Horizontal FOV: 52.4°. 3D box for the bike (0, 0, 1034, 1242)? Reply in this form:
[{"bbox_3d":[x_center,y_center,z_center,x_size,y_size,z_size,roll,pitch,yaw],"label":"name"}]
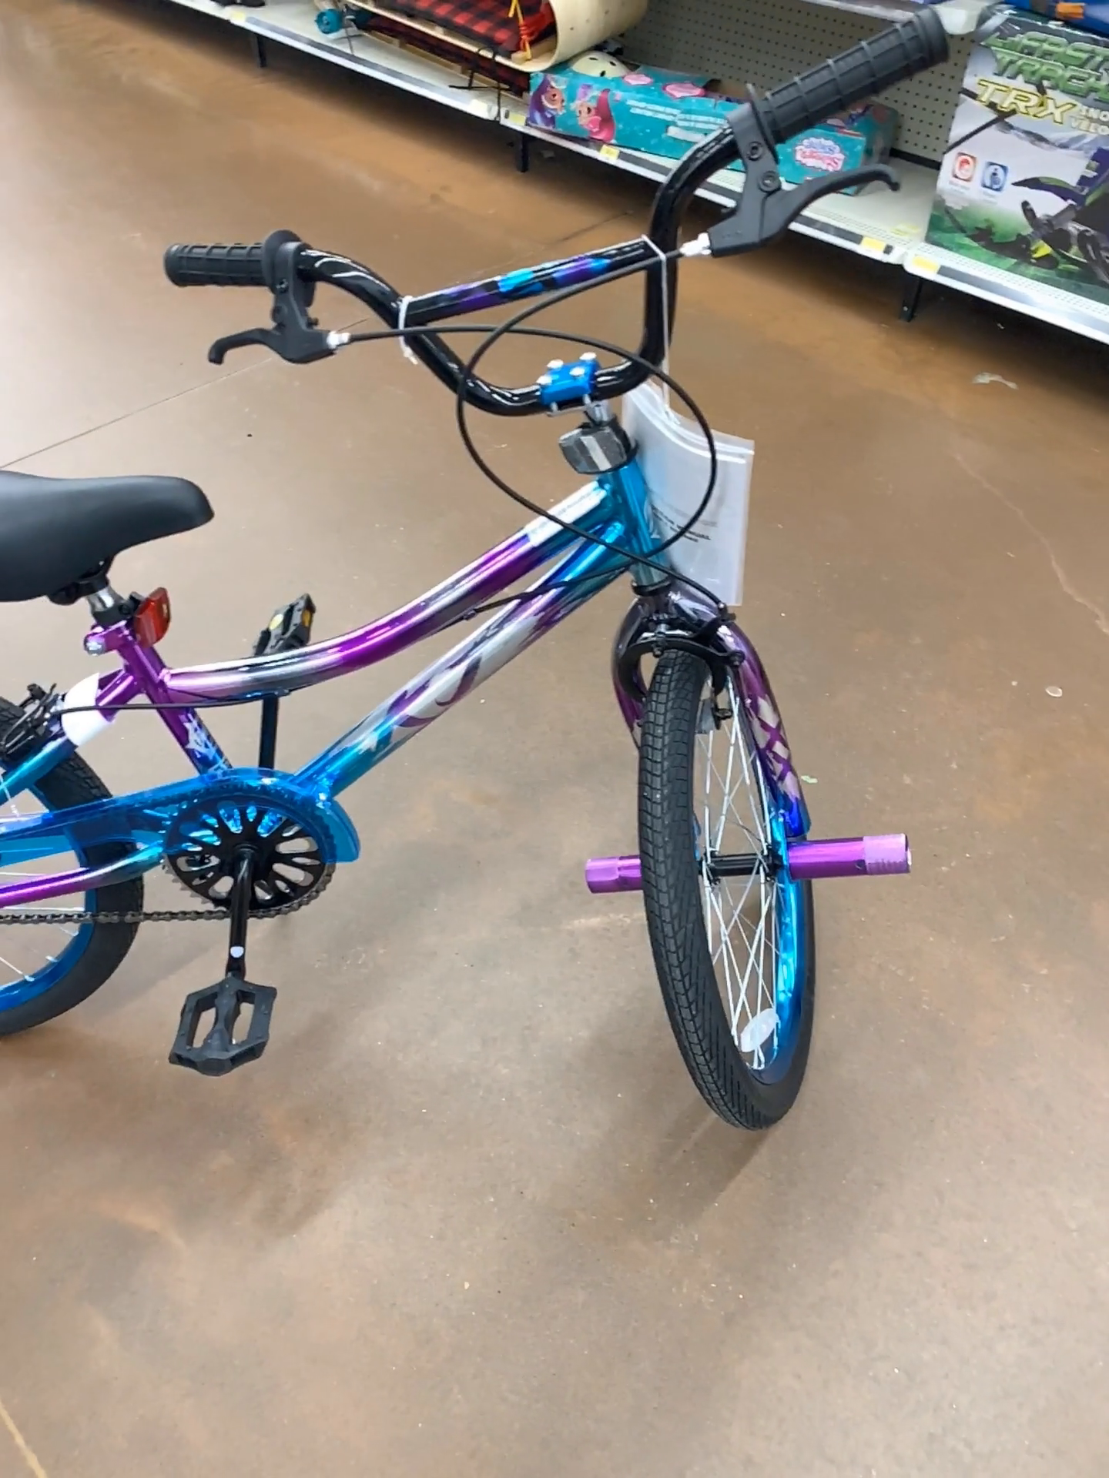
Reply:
[{"bbox_3d":[-0.316,-0.169,1.036,1.119,0.876,0.623,-8,46,-10],"label":"bike"}]
